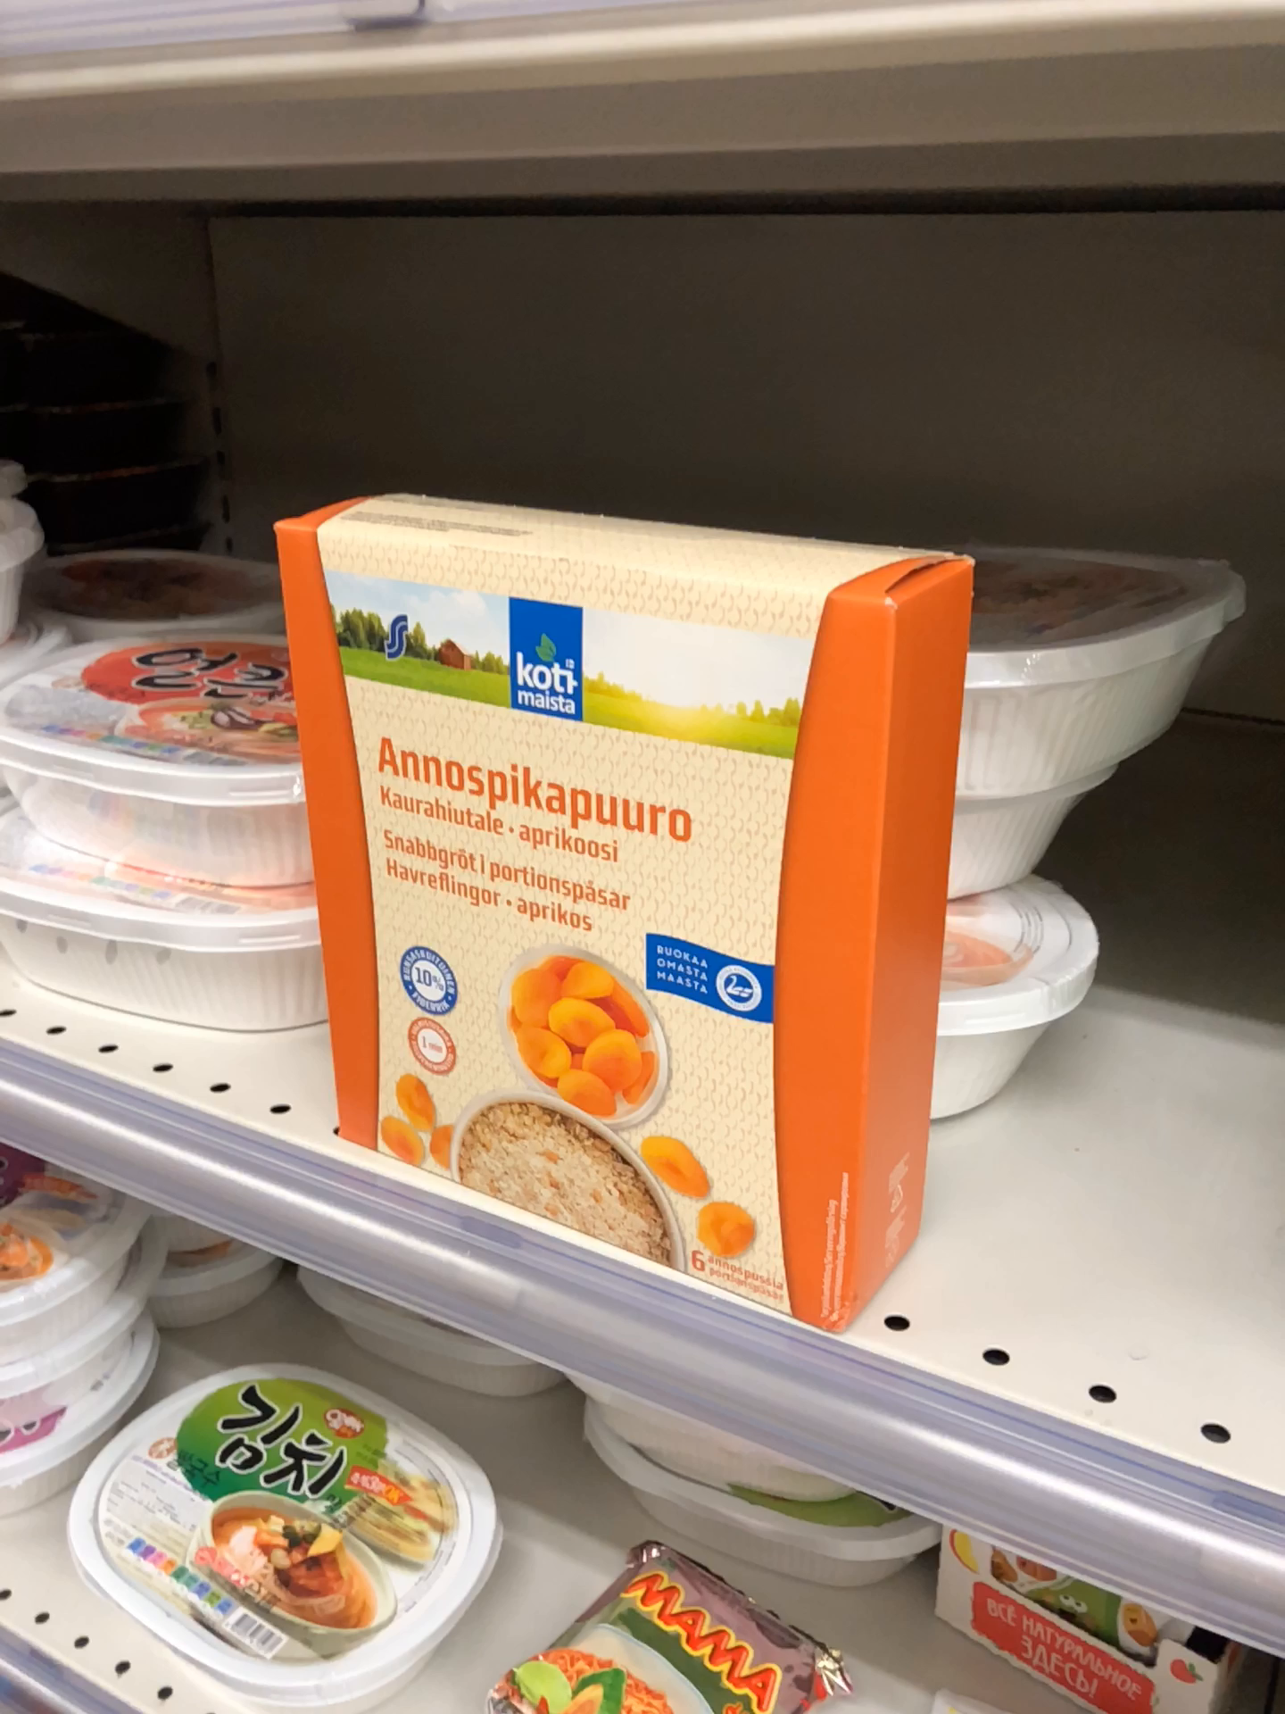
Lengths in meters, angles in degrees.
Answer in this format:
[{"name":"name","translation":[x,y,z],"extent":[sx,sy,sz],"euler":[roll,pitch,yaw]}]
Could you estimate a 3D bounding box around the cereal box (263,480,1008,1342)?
[{"name":"cereal box","translation":[-0.007,0.004,0.367],"extent":[0.170,0.179,0.060],"euler":[14,25,30]}]
